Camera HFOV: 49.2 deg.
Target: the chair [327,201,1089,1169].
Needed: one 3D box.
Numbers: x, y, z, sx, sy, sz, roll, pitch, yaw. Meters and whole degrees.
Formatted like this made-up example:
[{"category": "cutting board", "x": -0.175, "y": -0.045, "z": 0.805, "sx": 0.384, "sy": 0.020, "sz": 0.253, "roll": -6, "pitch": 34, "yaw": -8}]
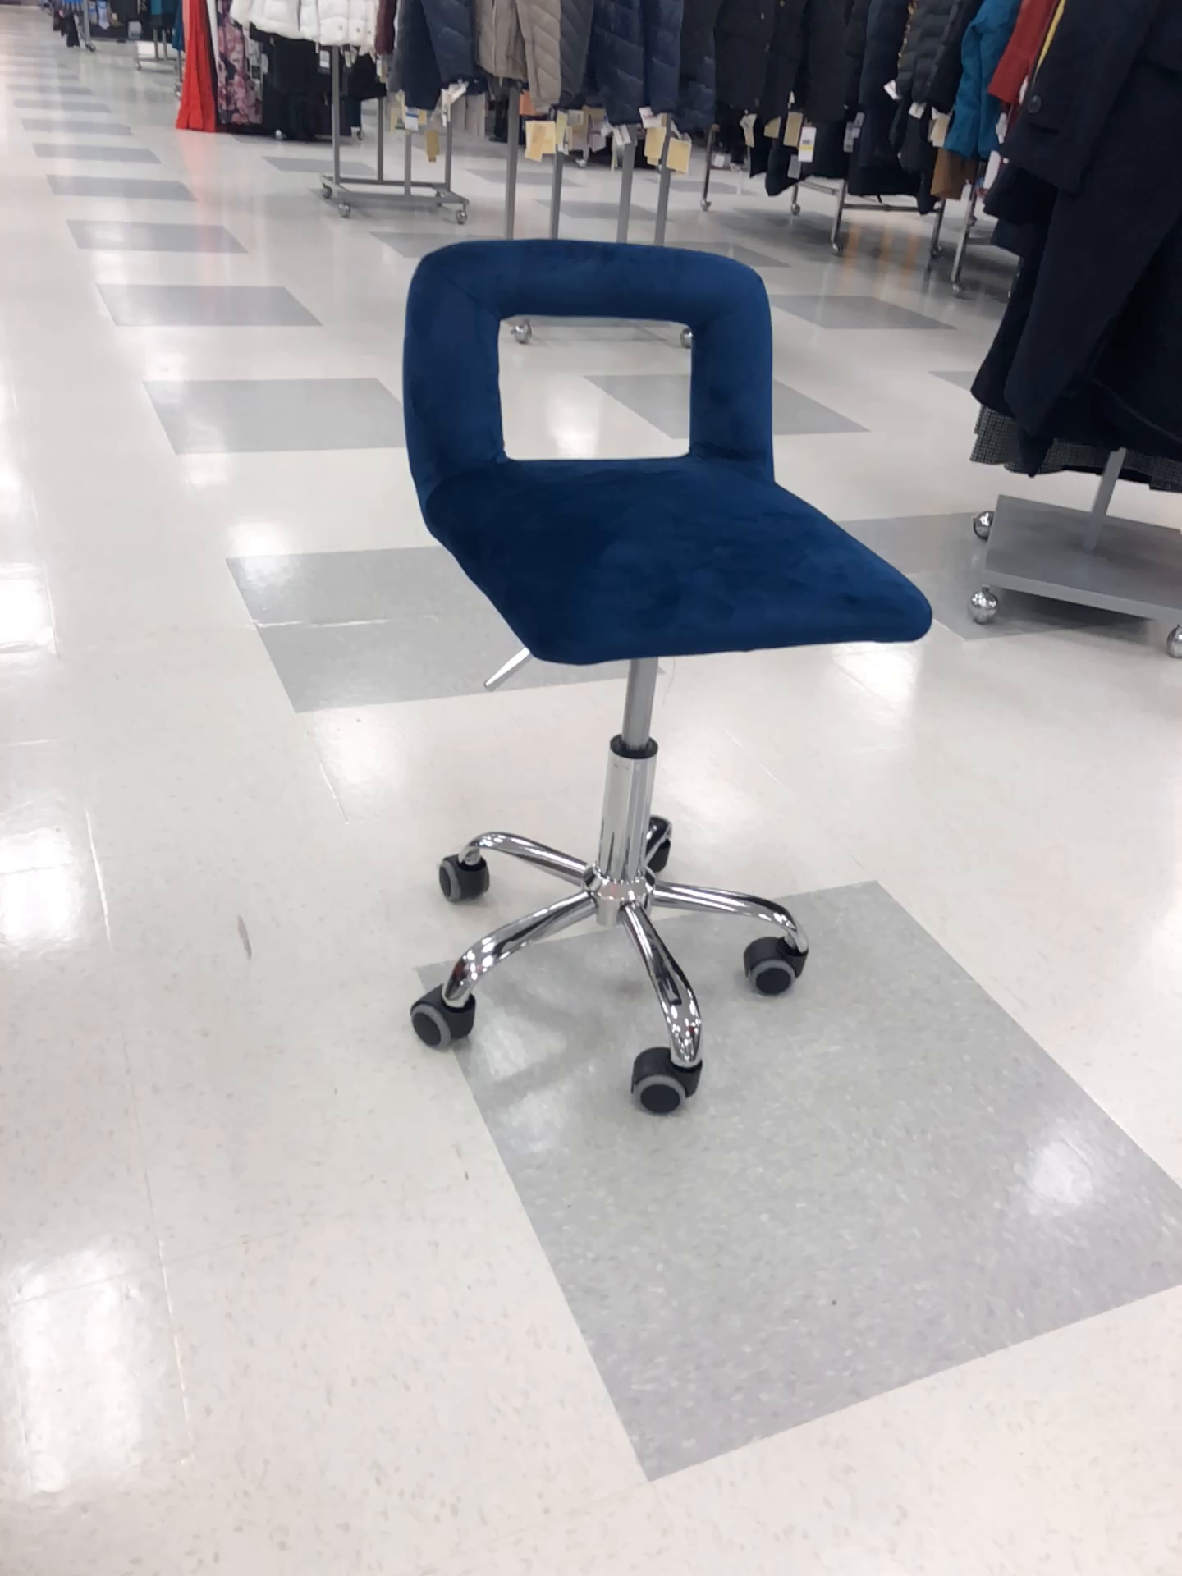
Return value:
[{"category": "chair", "x": 0.029, "y": -0.132, "z": 1.260, "sx": 0.448, "sy": 0.719, "sz": 0.531, "roll": -8, "pitch": 33, "yaw": -23}]
